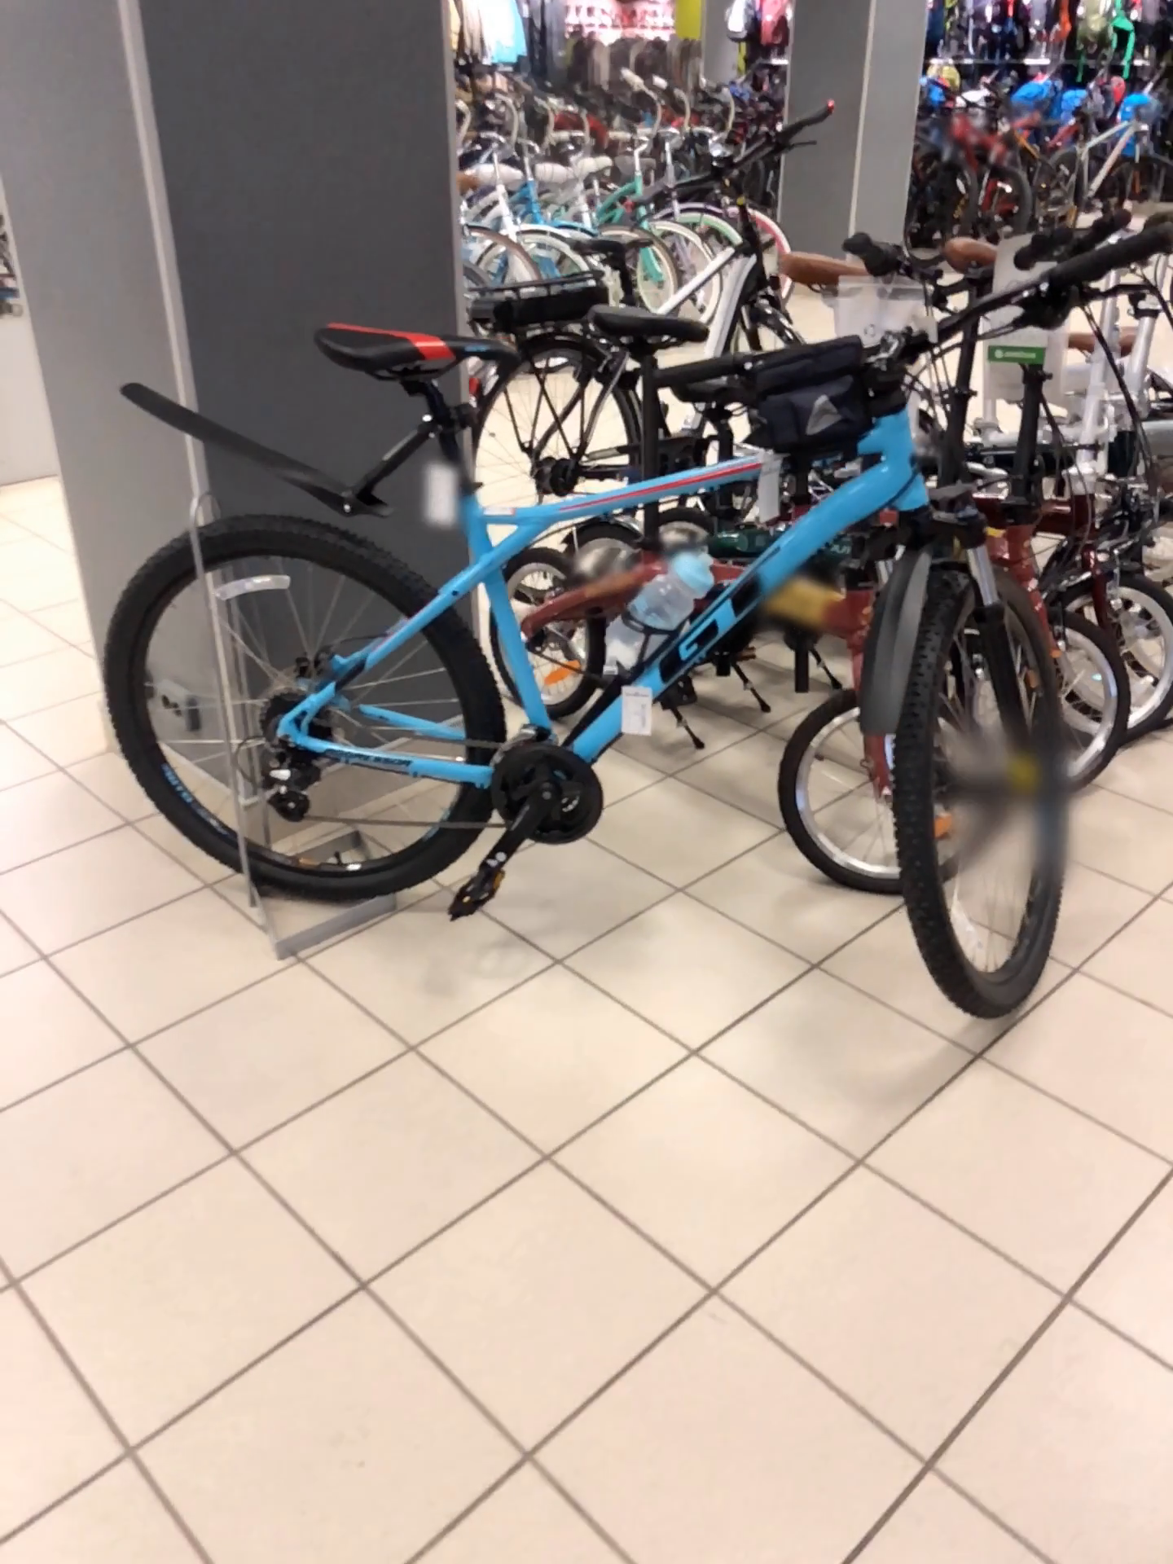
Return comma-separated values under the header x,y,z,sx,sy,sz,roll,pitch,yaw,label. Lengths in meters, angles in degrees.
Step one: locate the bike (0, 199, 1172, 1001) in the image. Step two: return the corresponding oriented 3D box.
x,y,z,sx,sy,sz,roll,pitch,yaw,label
-0.002,-0.298,2.071,1.610,1.084,0.695,1,28,-2,bike
